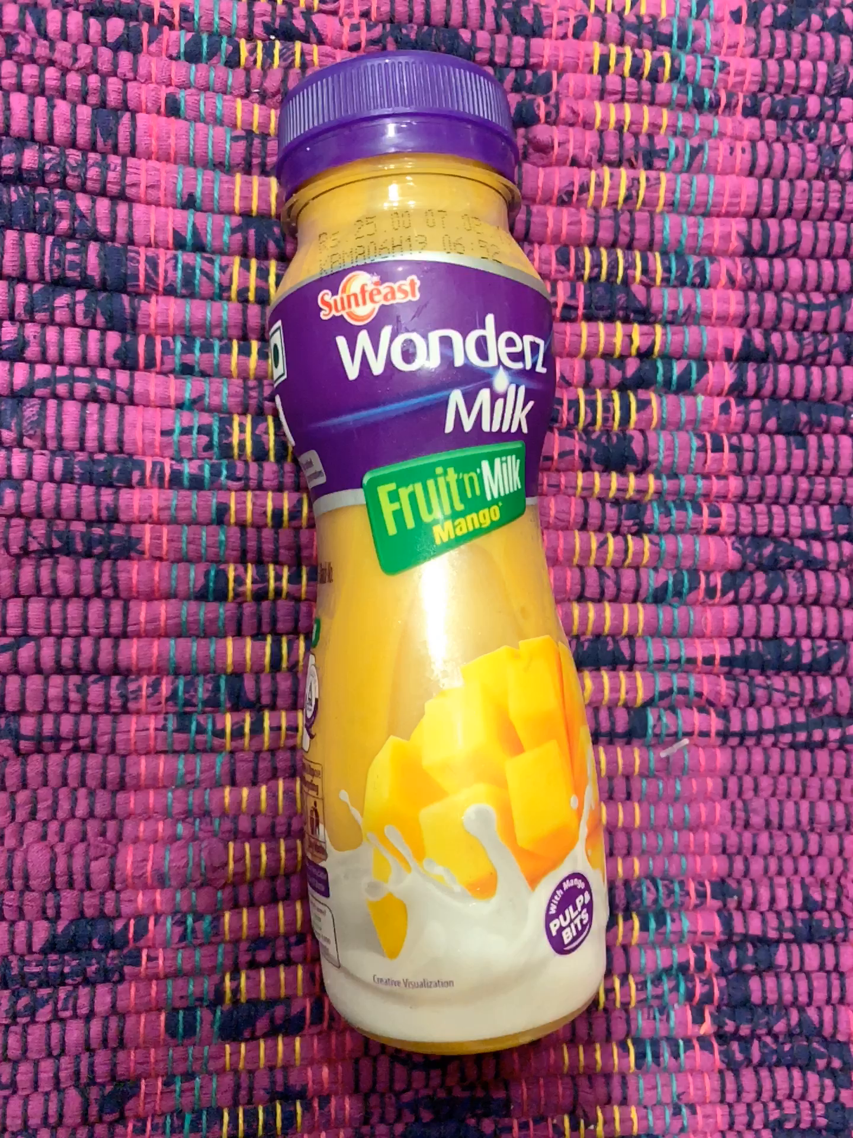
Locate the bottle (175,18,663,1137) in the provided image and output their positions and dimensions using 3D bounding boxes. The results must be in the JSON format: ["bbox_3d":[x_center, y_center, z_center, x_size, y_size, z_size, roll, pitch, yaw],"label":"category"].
[{"bbox_3d":[-0.004,0.001,0.140,0.050,0.040,0.150,-6,88,-11],"label":"bottle"}]
